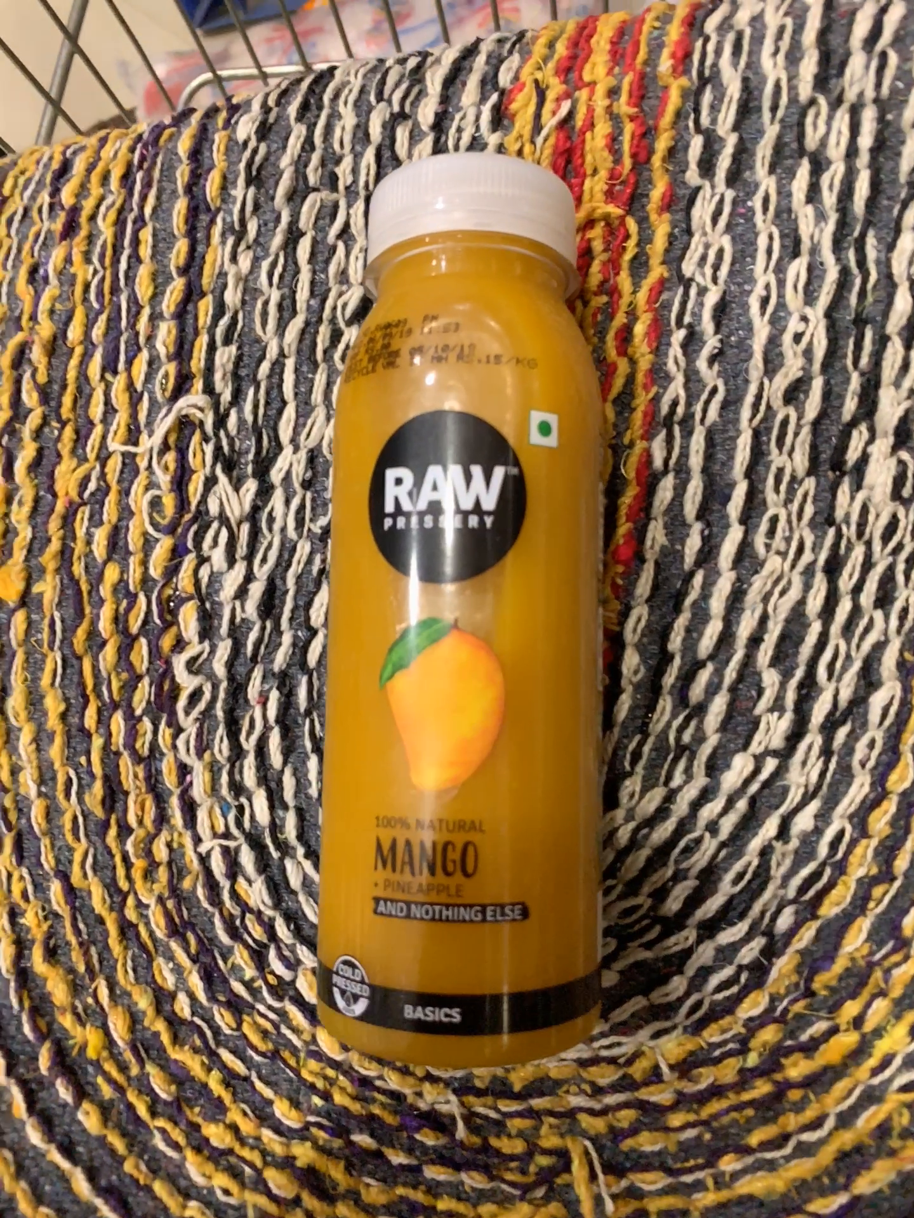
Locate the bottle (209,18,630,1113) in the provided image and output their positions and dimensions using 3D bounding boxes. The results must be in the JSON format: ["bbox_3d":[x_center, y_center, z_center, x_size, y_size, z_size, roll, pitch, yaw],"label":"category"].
[{"bbox_3d":[-0.001,-0.010,0.175,0.060,0.050,0.170,1,83,12],"label":"bottle"}]
